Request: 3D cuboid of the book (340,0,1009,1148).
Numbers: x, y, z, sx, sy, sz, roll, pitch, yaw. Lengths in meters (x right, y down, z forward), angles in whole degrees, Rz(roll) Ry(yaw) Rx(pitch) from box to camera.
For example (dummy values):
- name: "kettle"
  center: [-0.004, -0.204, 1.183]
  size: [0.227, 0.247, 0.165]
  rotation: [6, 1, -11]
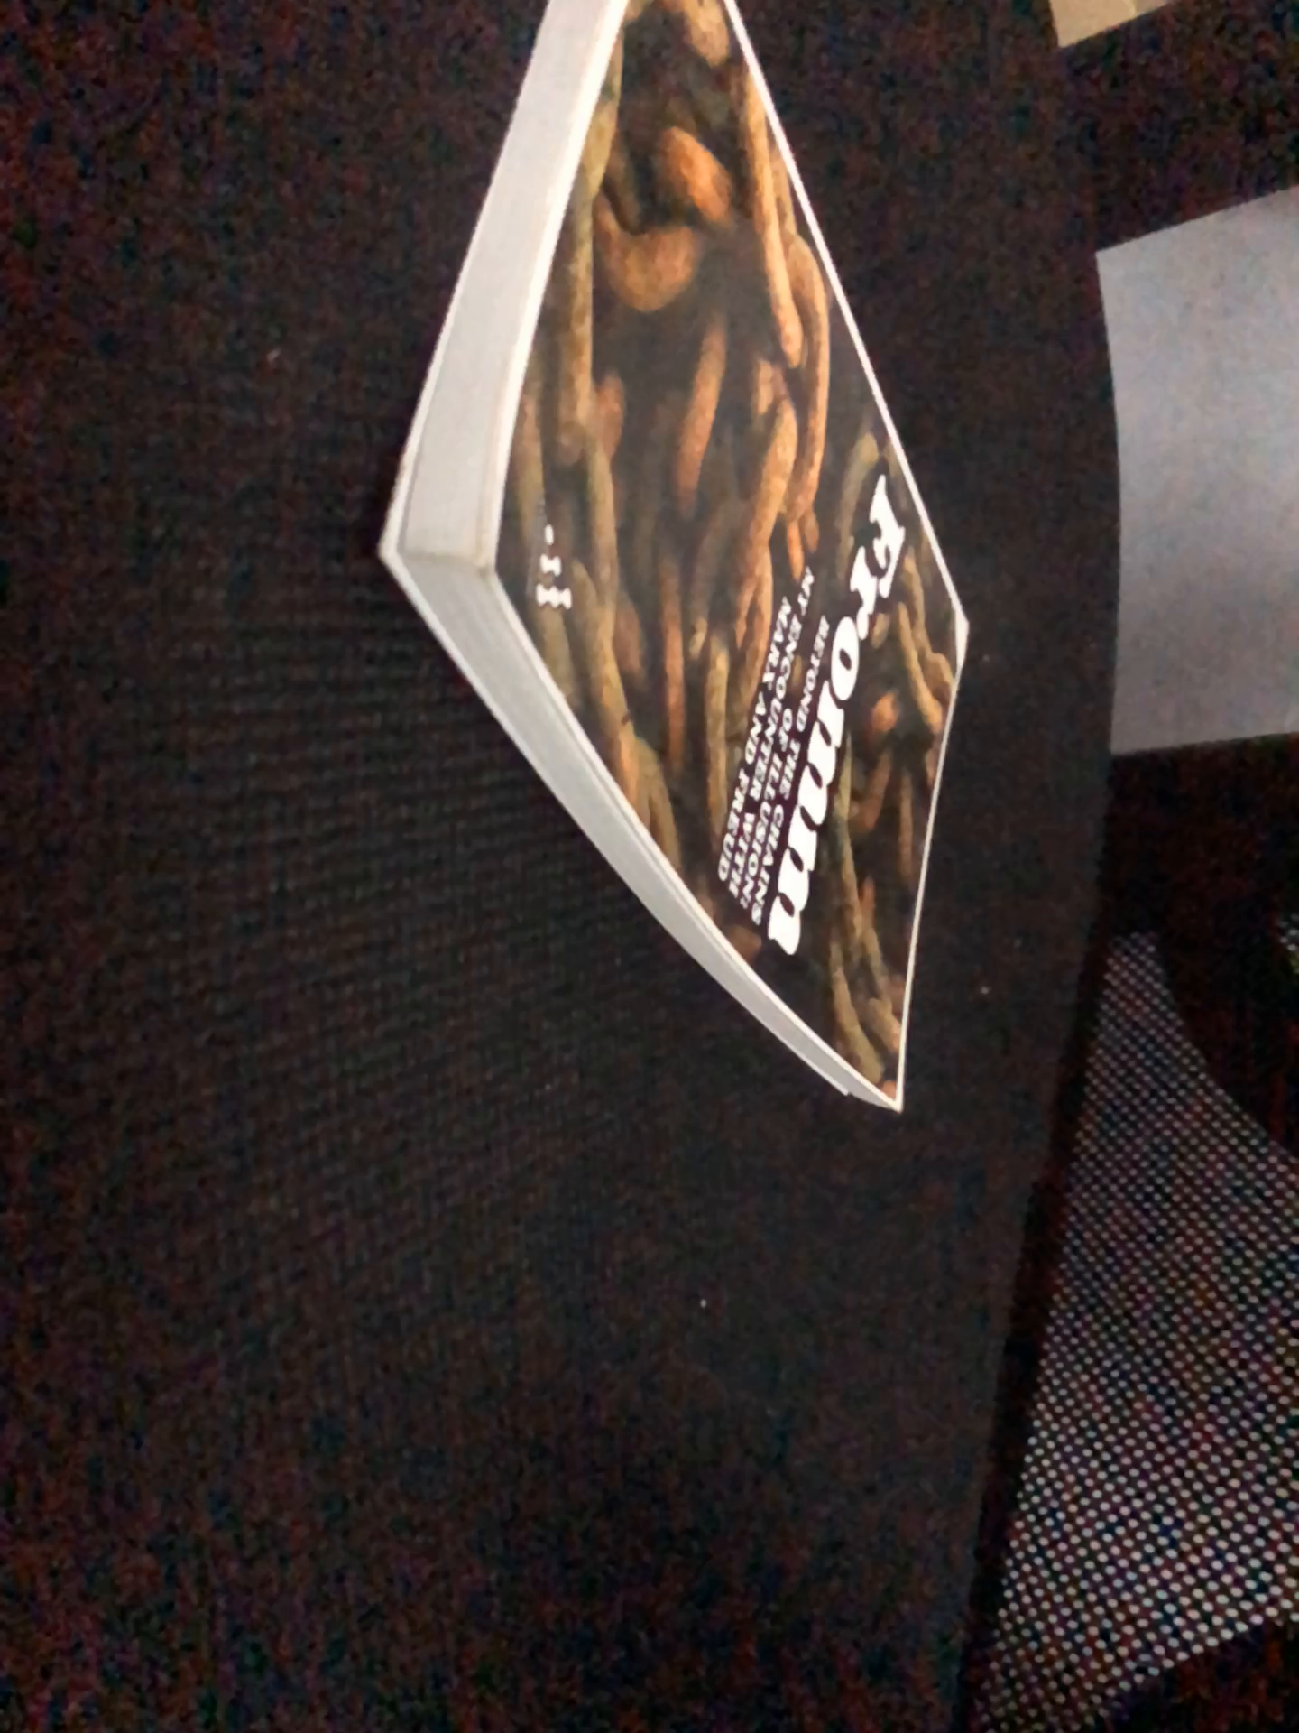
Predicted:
- name: "book"
  center: [0.029, -0.050, 0.257]
  size: [0.196, 0.016, 0.144]
  rotation: [47, 46, -51]
